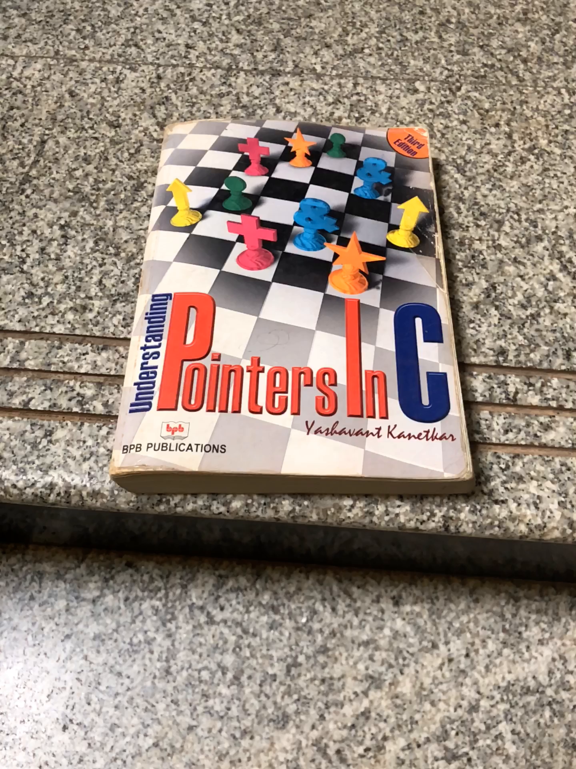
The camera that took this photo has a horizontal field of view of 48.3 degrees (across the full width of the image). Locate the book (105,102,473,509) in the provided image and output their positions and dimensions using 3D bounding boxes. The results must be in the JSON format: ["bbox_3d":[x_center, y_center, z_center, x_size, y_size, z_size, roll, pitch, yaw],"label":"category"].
[{"bbox_3d":[0.003,-0.052,0.313,0.140,0.030,0.220,2,59,0],"label":"book"}]
